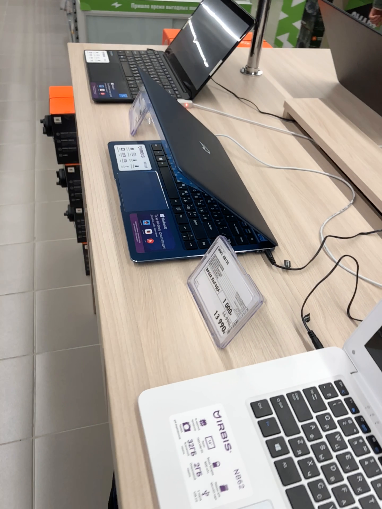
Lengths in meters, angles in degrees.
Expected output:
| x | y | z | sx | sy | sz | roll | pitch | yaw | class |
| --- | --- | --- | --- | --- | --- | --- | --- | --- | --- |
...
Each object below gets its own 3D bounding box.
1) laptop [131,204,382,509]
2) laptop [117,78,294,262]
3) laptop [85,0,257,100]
| x | y | z | sx | sy | sz | roll | pitch | yaw | class |
| --- | --- | --- | --- | --- | --- | --- | --- | --- | --- |
| 0.151 | 0.153 | 0.258 | 0.302 | 0.212 | 0.341 | -5 | 42 | -13 | laptop |
| -0.004 | -0.150 | 0.652 | 0.189 | 0.124 | 0.310 | -6 | 43 | -11 | laptop |
| -0.067 | -0.511 | 0.998 | 0.322 | 0.165 | 0.295 | -5 | 44 | -12 | laptop |
